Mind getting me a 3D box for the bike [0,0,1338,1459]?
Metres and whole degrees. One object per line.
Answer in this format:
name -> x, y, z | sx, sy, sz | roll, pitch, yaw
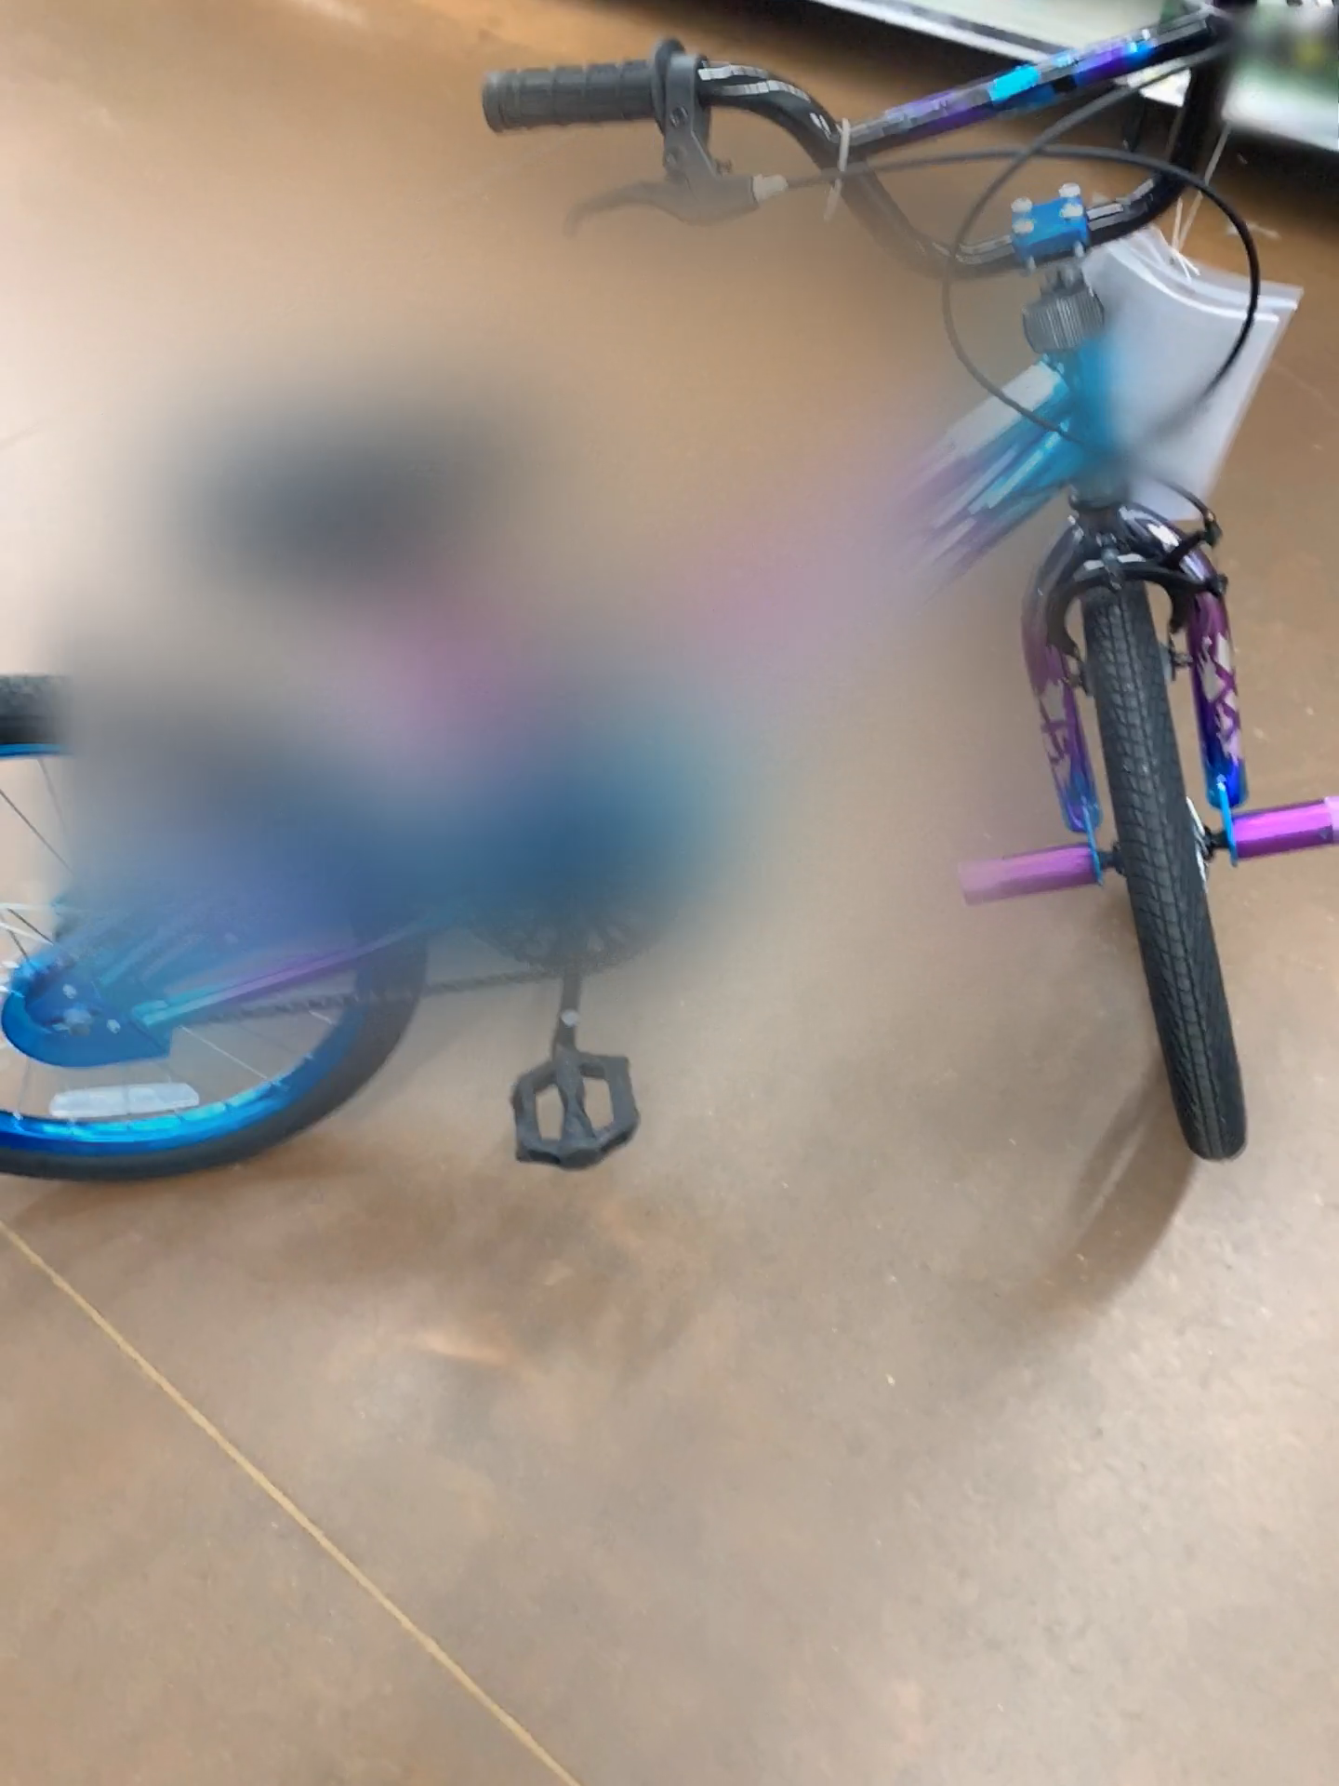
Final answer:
bike -> -0.121, -0.267, 0.952 | 1.120, 0.877, 0.622 | -15, 54, -13
